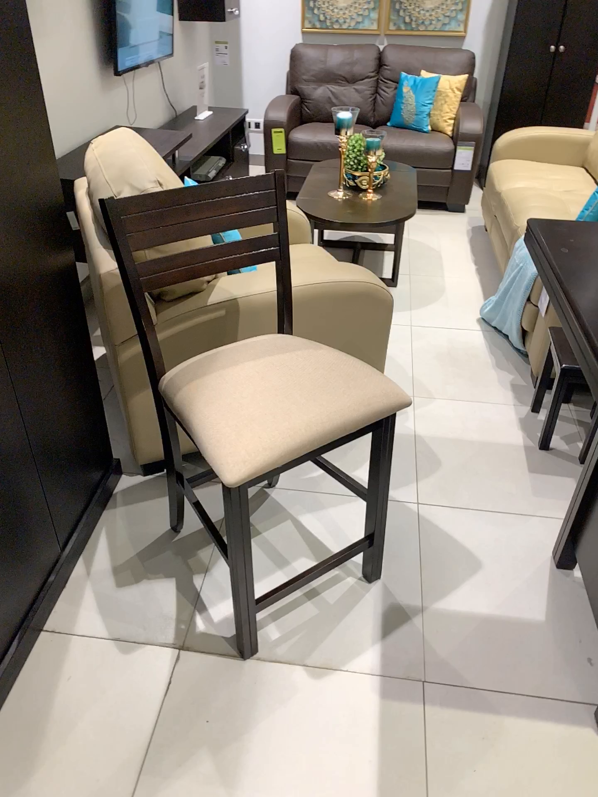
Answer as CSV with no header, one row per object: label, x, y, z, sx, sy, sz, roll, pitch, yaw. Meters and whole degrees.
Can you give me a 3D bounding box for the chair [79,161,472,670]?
chair,-0.075,0.012,1.441,0.521,0.916,0.592,-22,41,-30
